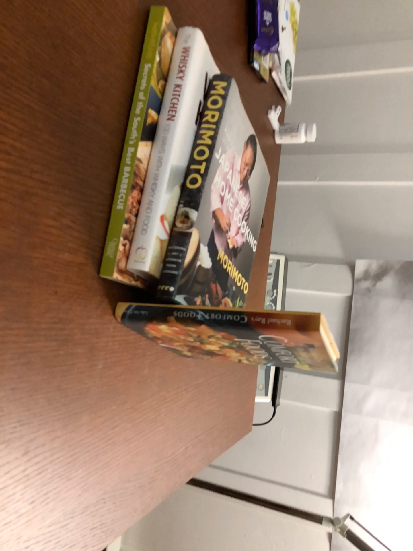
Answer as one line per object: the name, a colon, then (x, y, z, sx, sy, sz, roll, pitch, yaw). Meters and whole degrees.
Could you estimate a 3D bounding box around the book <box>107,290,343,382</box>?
book: (0.036, 0.073, 0.503, 0.211, 0.209, 0.030, 49, 48, -61)

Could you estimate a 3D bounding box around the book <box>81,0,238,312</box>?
book: (-0.035, -0.111, 0.524, 0.221, 0.030, 0.280, 29, 69, -65)

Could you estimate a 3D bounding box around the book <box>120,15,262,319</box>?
book: (0.001, -0.104, 0.537, 0.221, 0.030, 0.280, 34, 65, -64)

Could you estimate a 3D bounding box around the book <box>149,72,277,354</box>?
book: (0.026, -0.061, 0.568, 0.221, 0.030, 0.280, 44, 56, -61)
